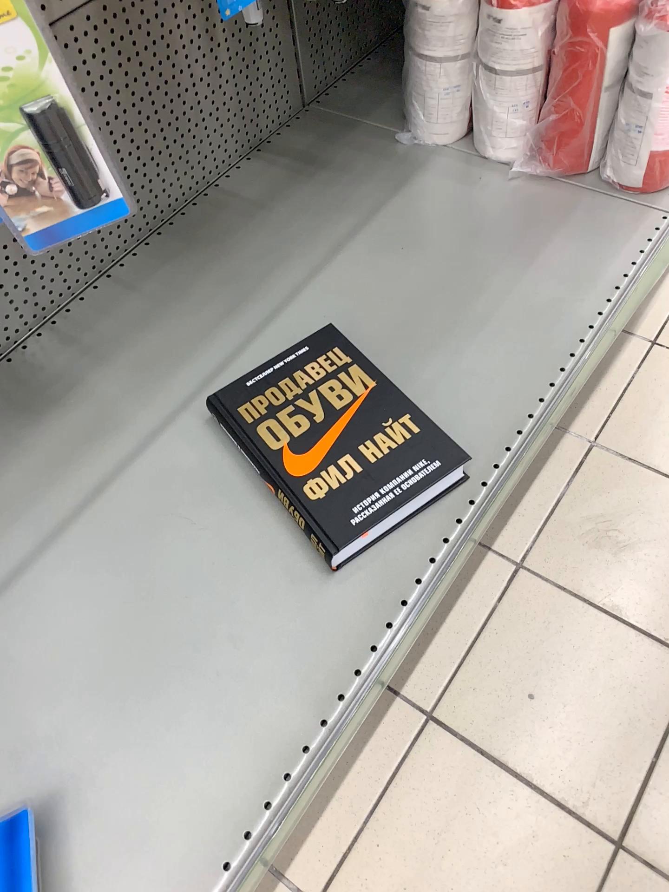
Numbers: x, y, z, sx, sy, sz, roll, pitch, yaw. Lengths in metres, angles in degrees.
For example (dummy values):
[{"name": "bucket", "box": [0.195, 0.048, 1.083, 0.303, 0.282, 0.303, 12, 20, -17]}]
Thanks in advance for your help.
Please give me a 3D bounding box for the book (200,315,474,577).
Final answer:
[{"name": "book", "box": [-0.004, -0.013, 0.711, 0.166, 0.049, 0.250, -32, 57, -15]}]
